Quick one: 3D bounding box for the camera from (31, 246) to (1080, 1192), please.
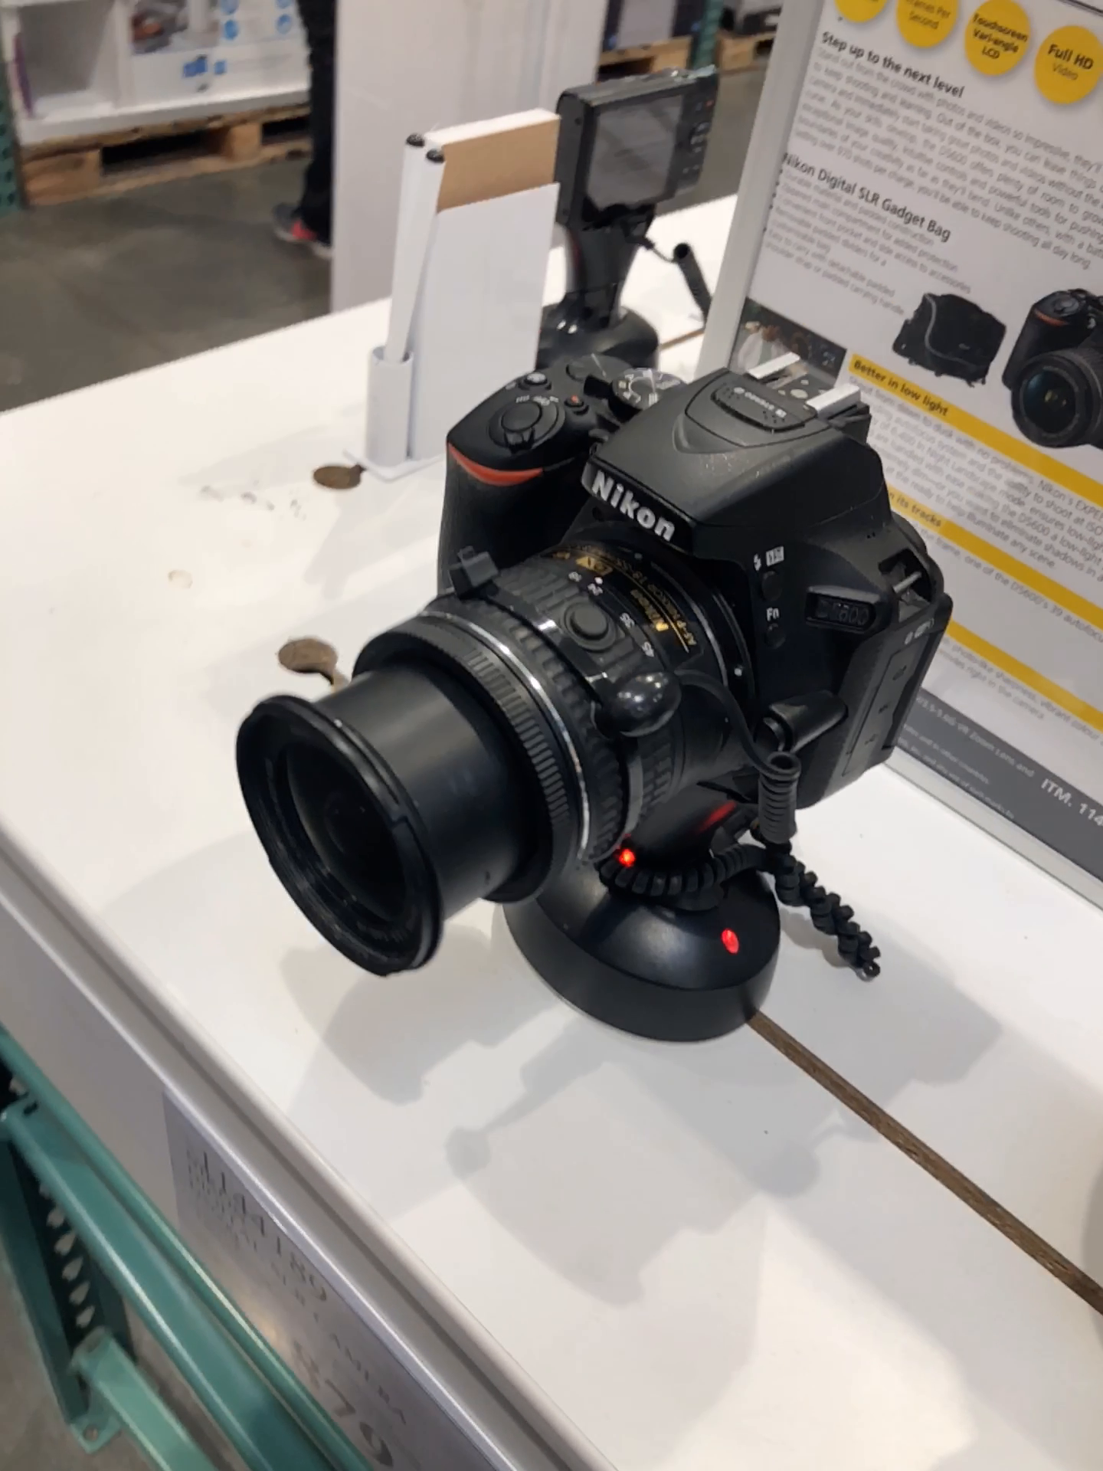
[{"bbox_3d":[0.000,-0.021,0.278,0.161,0.099,0.140,-30,57,-35],"label":"camera"}]
